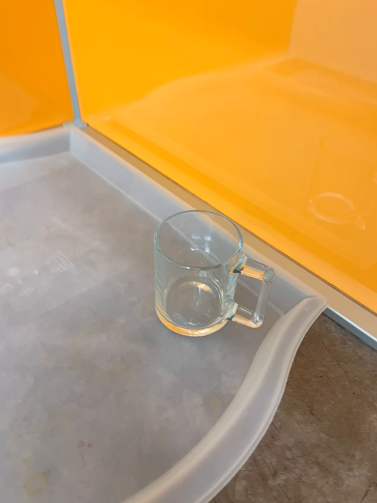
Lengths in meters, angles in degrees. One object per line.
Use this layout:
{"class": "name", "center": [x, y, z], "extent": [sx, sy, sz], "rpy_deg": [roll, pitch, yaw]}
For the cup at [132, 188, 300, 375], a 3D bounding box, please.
{"class": "cup", "center": [0.021, 0.025, 0.342], "extent": [0.109, 0.104, 0.082], "rpy_deg": [22, 47, 17]}
